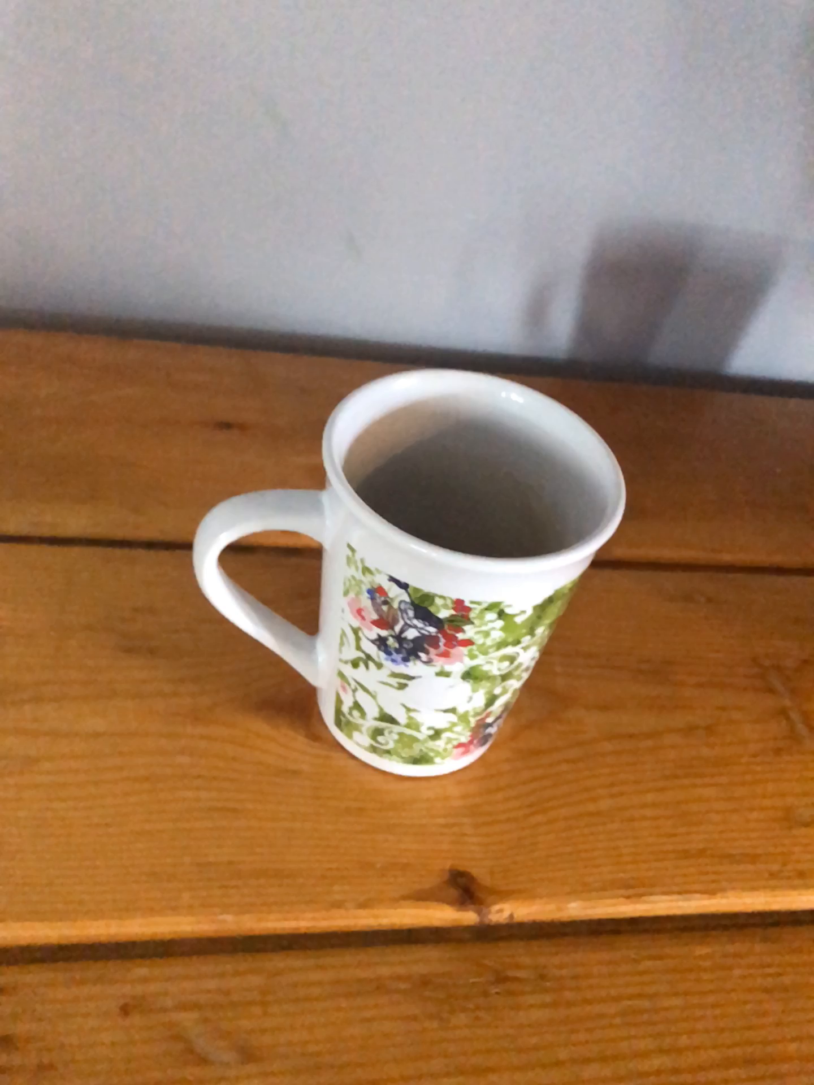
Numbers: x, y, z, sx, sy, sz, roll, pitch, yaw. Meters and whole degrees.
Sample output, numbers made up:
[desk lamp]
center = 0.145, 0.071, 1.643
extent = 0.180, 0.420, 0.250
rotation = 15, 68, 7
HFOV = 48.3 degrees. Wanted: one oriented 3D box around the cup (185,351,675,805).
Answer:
[cup]
center = -0.007, 0.013, 0.311
extent = 0.130, 0.120, 0.090
rotation = -1, 47, -16
